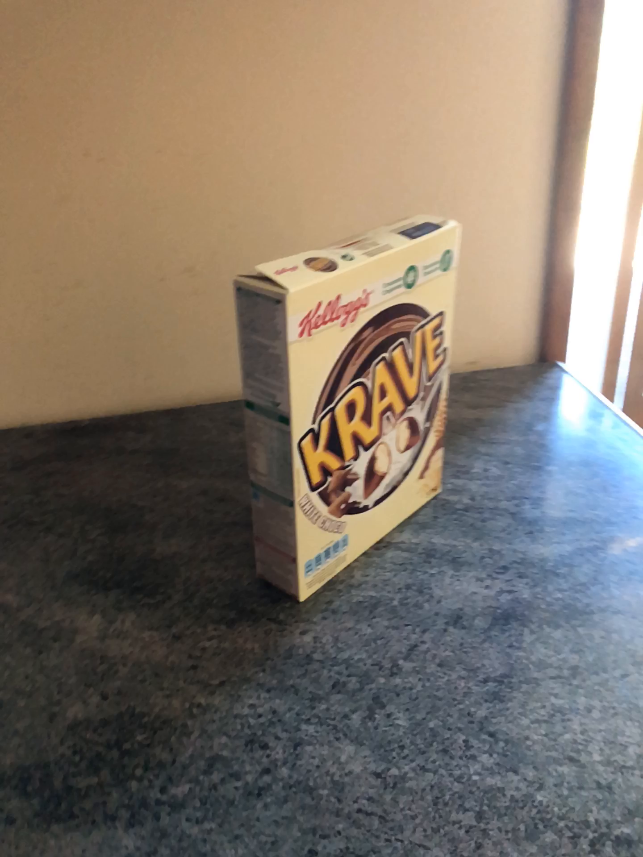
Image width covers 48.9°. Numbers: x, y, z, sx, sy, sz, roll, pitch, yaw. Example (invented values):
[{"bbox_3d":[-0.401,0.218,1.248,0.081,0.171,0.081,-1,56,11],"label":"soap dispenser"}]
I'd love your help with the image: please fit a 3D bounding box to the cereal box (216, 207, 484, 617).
[{"bbox_3d":[0.025,-0.021,0.544,0.070,0.248,0.211,24,36,33],"label":"cereal box"}]
